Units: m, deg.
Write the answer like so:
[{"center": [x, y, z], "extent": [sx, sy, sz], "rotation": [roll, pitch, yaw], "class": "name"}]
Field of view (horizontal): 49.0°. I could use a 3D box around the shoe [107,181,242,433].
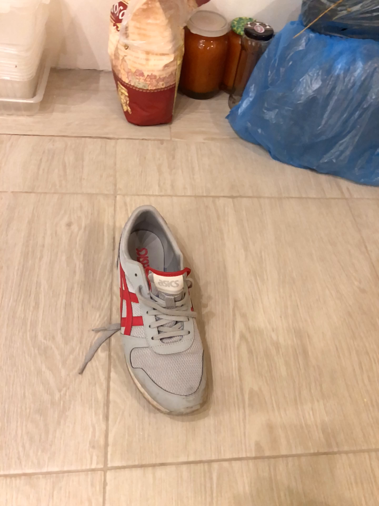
[{"center": [-0.037, 0.059, 0.561], "extent": [0.110, 0.129, 0.299], "rotation": [-6, 55, -12], "class": "shoe"}]
